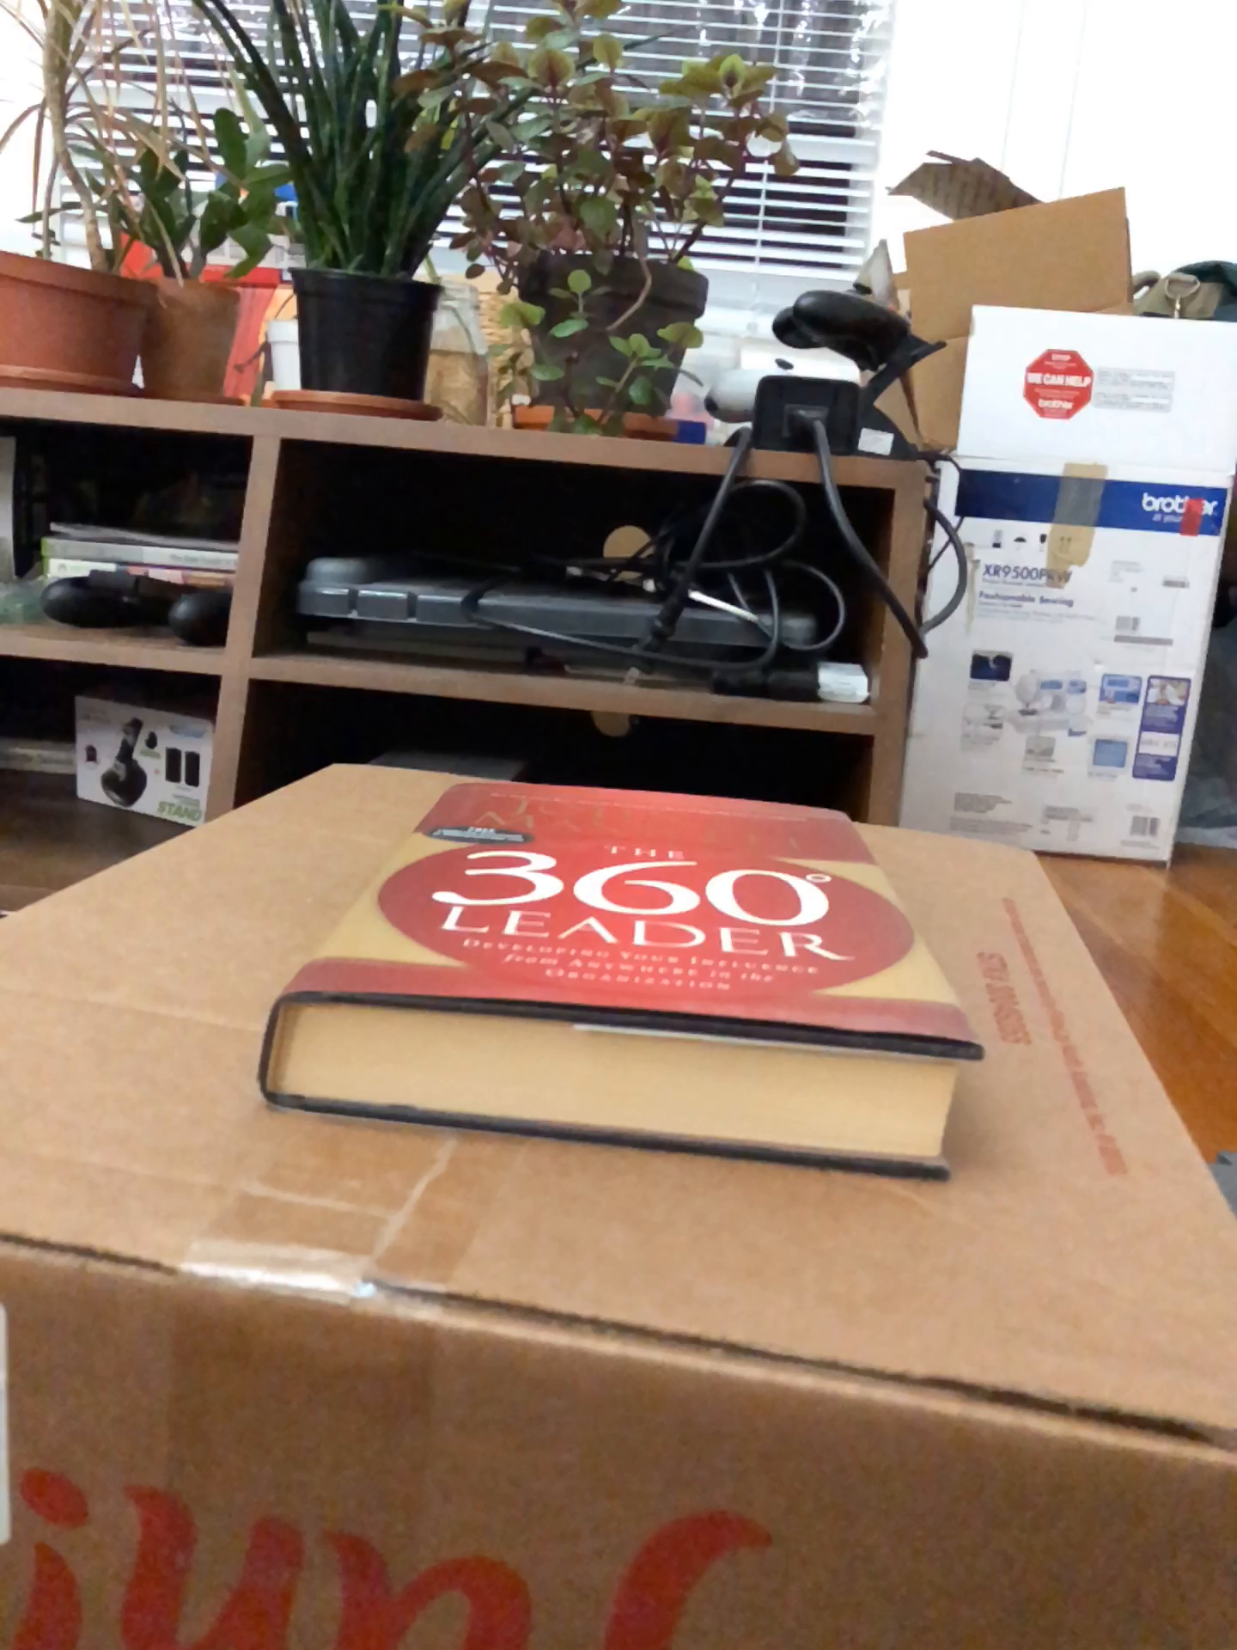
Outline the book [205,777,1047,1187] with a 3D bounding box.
[{"bbox_3d":[0.007,0.030,0.410,0.180,0.030,0.241,5,13,2],"label":"book"}]
